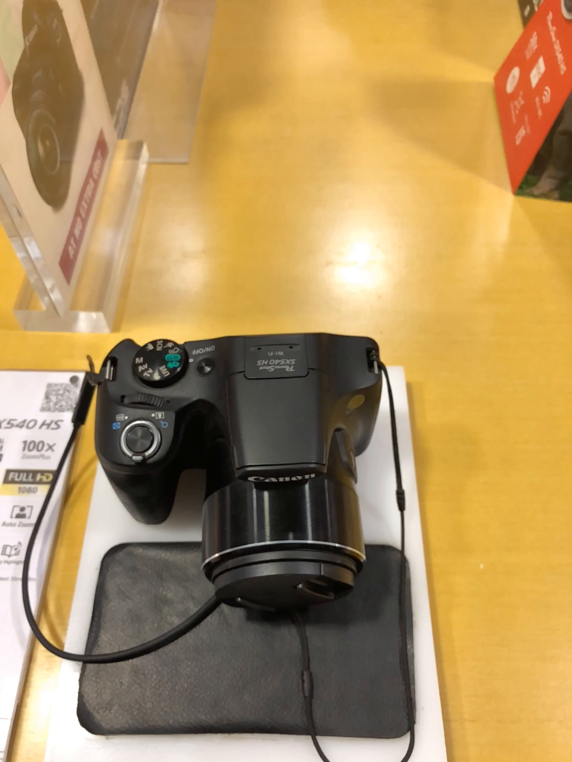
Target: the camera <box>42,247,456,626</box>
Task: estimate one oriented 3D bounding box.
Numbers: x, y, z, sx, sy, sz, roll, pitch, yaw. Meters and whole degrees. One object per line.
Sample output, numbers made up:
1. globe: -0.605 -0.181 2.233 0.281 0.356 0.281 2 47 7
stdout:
1. camera: -0.014 0.024 0.273 0.130 0.090 0.131 -2 57 -2
